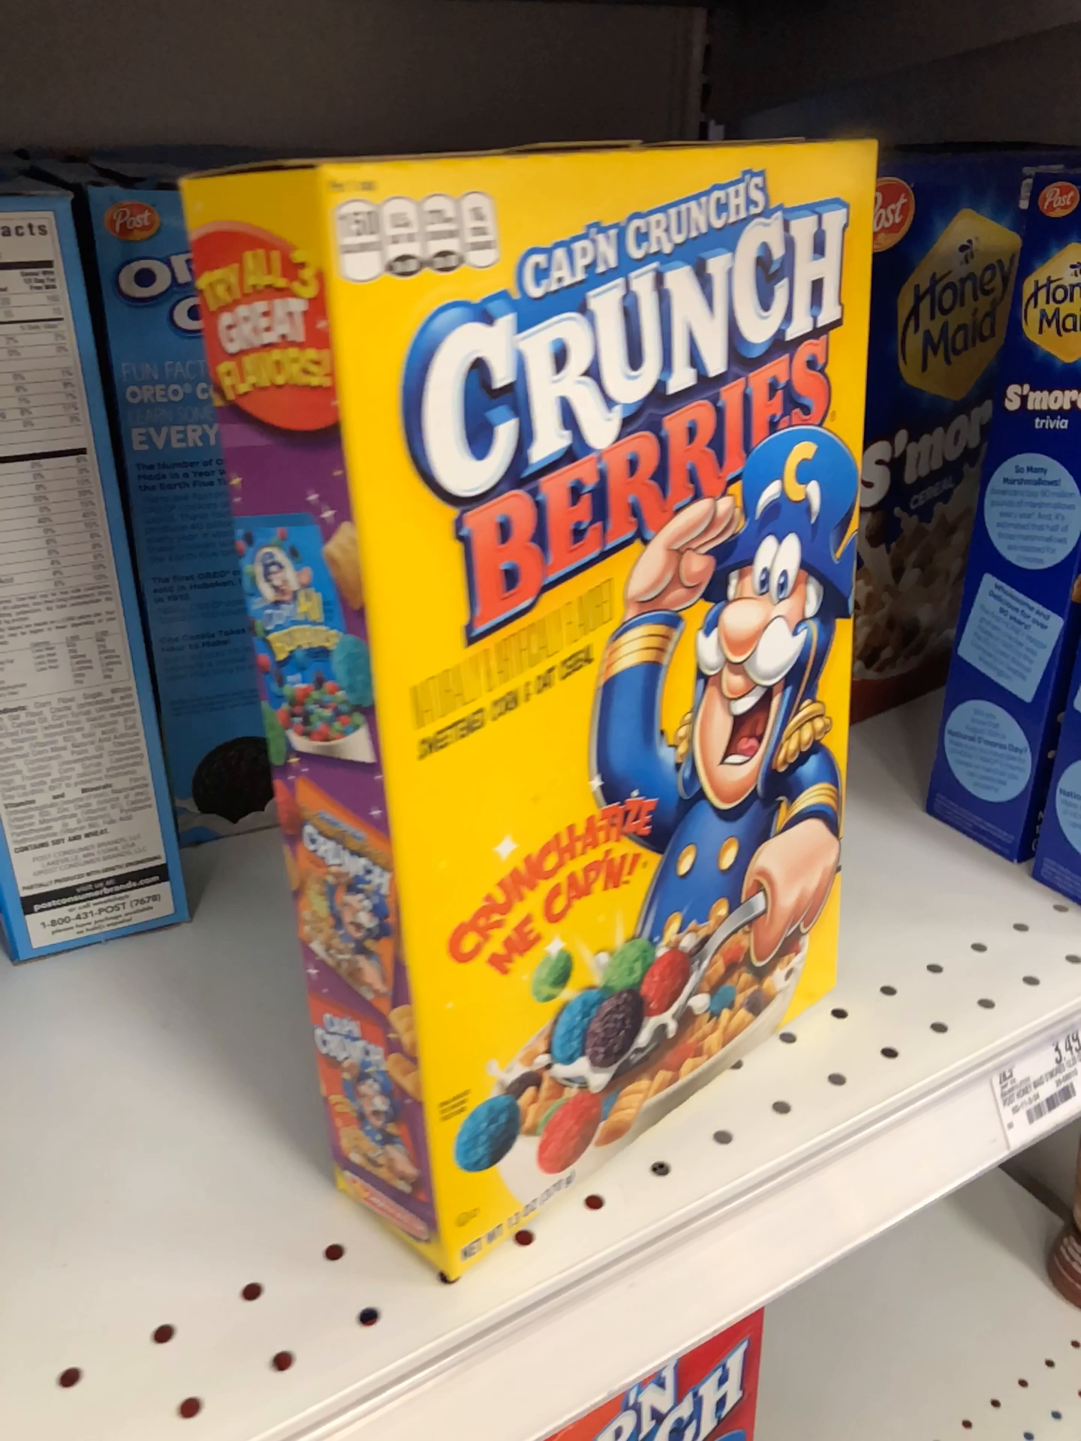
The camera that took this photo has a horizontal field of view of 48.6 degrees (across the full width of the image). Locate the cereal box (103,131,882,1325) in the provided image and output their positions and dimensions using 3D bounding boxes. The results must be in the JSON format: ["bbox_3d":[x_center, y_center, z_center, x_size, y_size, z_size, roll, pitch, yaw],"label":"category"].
[{"bbox_3d":[0.011,-0.007,0.350,0.200,0.289,0.060,-23,29,-37],"label":"cereal box"}]
